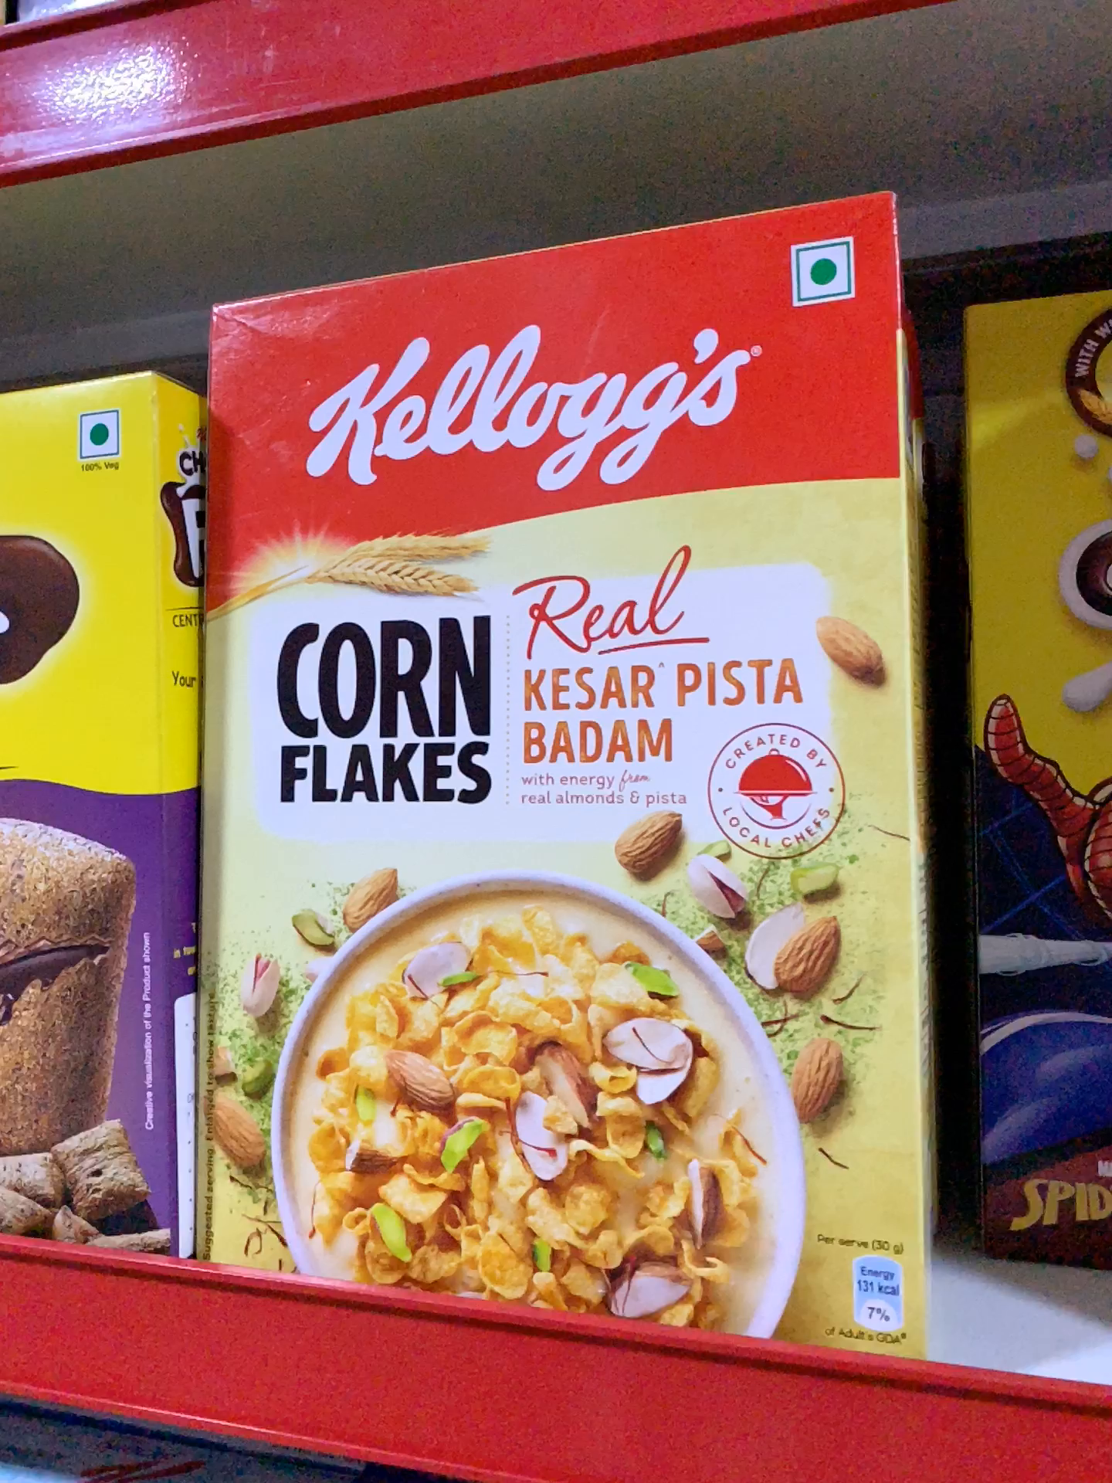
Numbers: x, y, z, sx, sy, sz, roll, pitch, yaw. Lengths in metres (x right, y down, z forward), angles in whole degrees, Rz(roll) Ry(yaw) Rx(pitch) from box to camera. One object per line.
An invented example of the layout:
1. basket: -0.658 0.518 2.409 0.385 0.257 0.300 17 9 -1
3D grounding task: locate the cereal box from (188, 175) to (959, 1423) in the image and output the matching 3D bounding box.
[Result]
1. cereal box: 0.004 0.011 0.294 0.180 0.250 0.070 -1 -2 19
